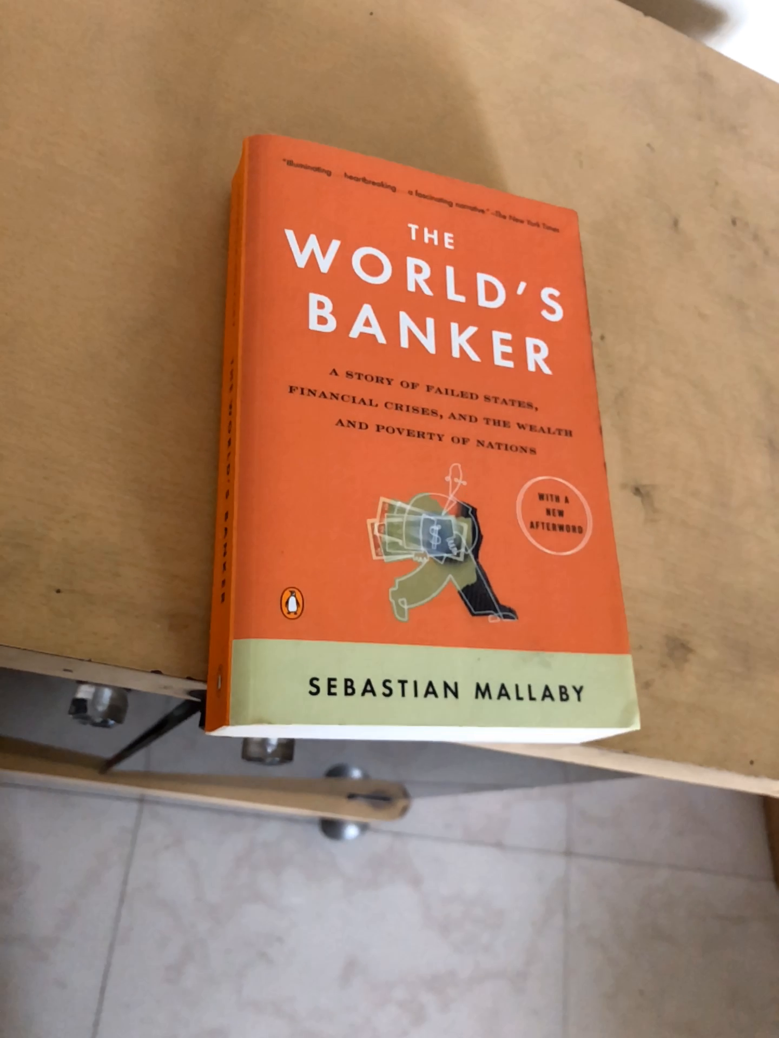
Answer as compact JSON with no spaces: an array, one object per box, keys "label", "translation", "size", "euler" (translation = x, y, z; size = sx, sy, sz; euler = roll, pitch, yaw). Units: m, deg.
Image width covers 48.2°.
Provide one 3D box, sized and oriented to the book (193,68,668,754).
[{"label":"book","translation":[0.014,-0.037,0.295],"size":[0.140,0.030,0.220],"euler":[7,68,-21]}]
